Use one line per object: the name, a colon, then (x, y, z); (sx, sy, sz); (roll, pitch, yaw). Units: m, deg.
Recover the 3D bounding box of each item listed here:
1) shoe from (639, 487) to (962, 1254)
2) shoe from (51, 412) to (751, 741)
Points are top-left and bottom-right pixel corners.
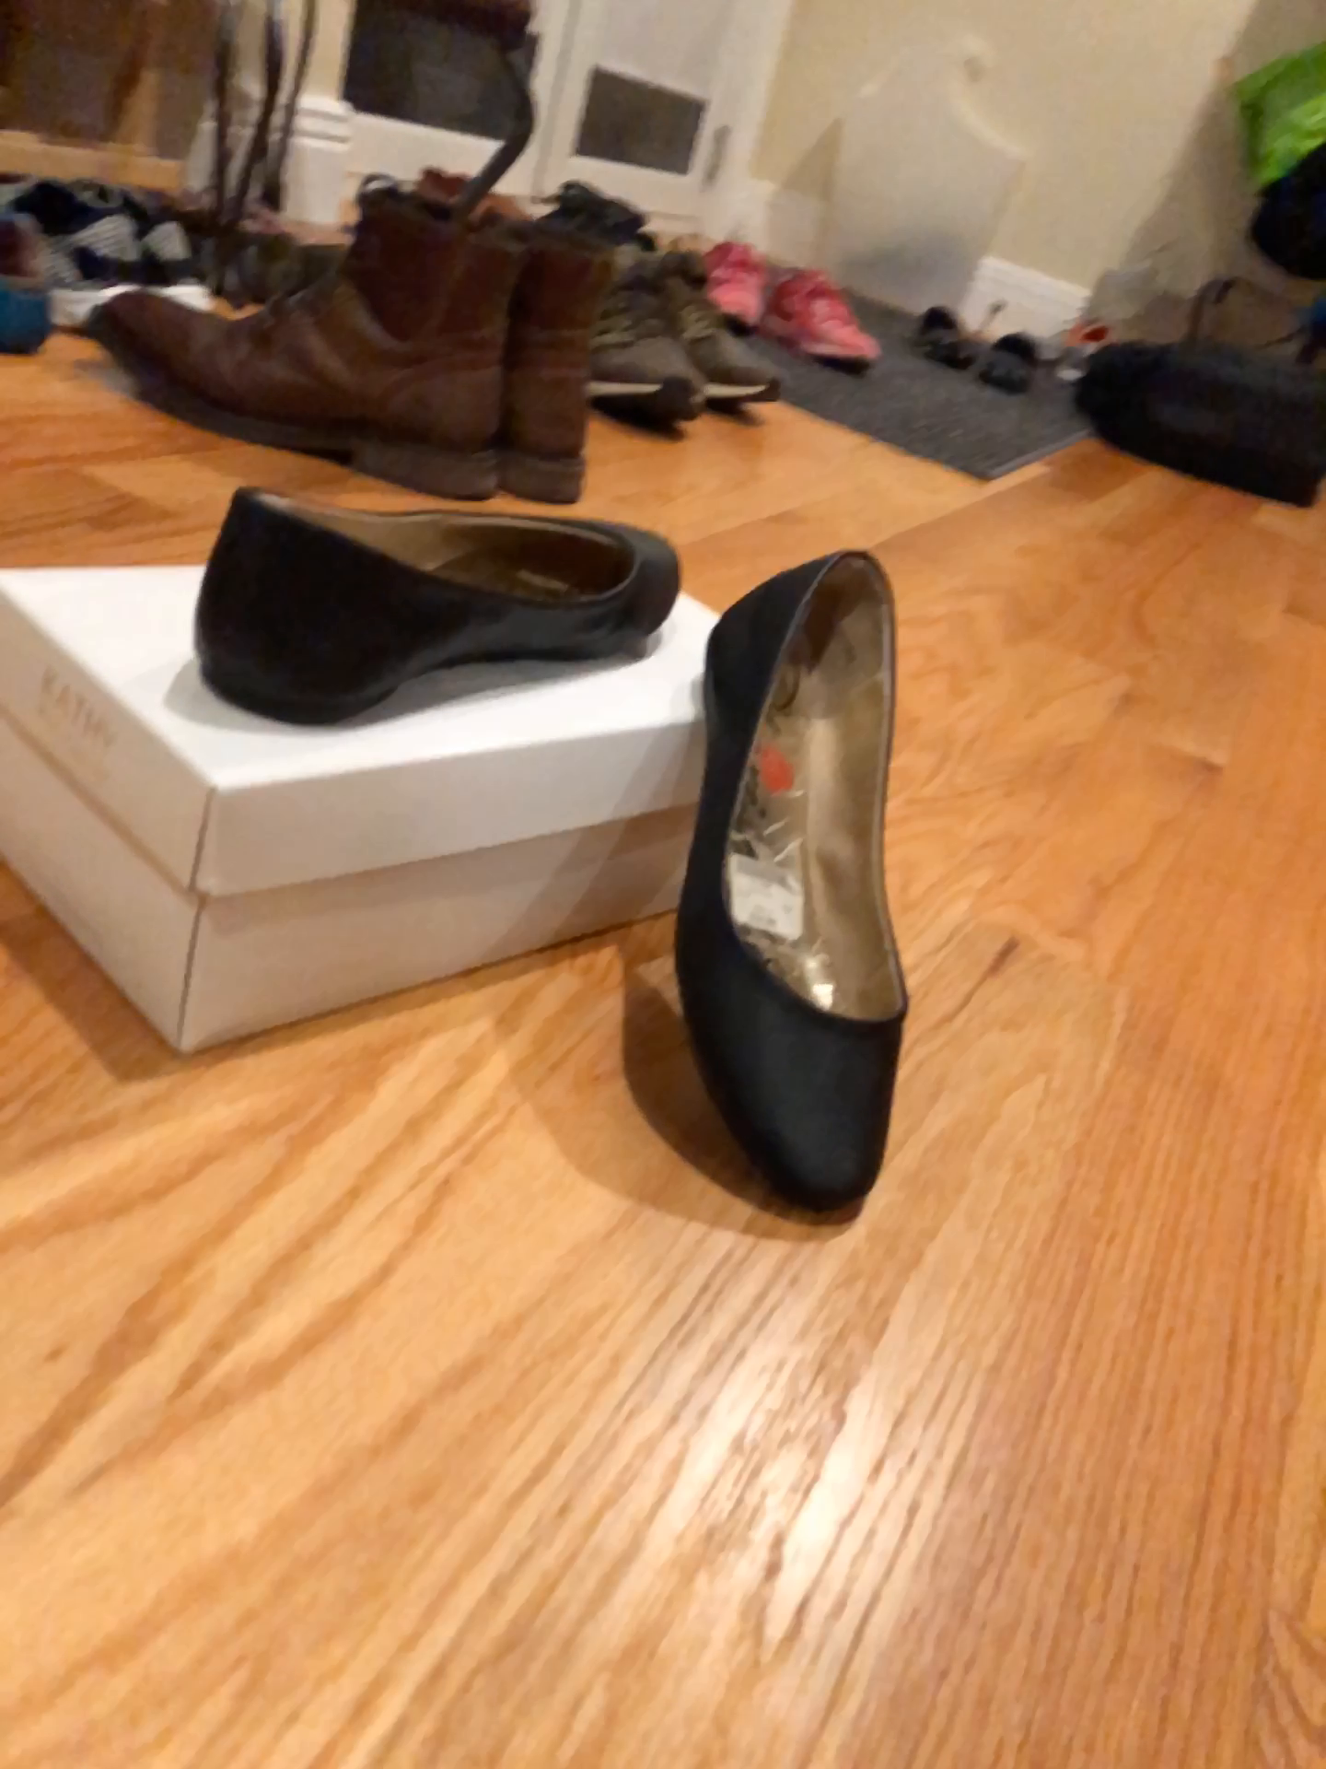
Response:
shoe: (0.047, -0.007, 0.486); (0.076, 0.060, 0.241); (19, 61, -31)
shoe: (-0.071, -0.113, 0.482); (0.076, 0.060, 0.241); (31, 31, 23)
